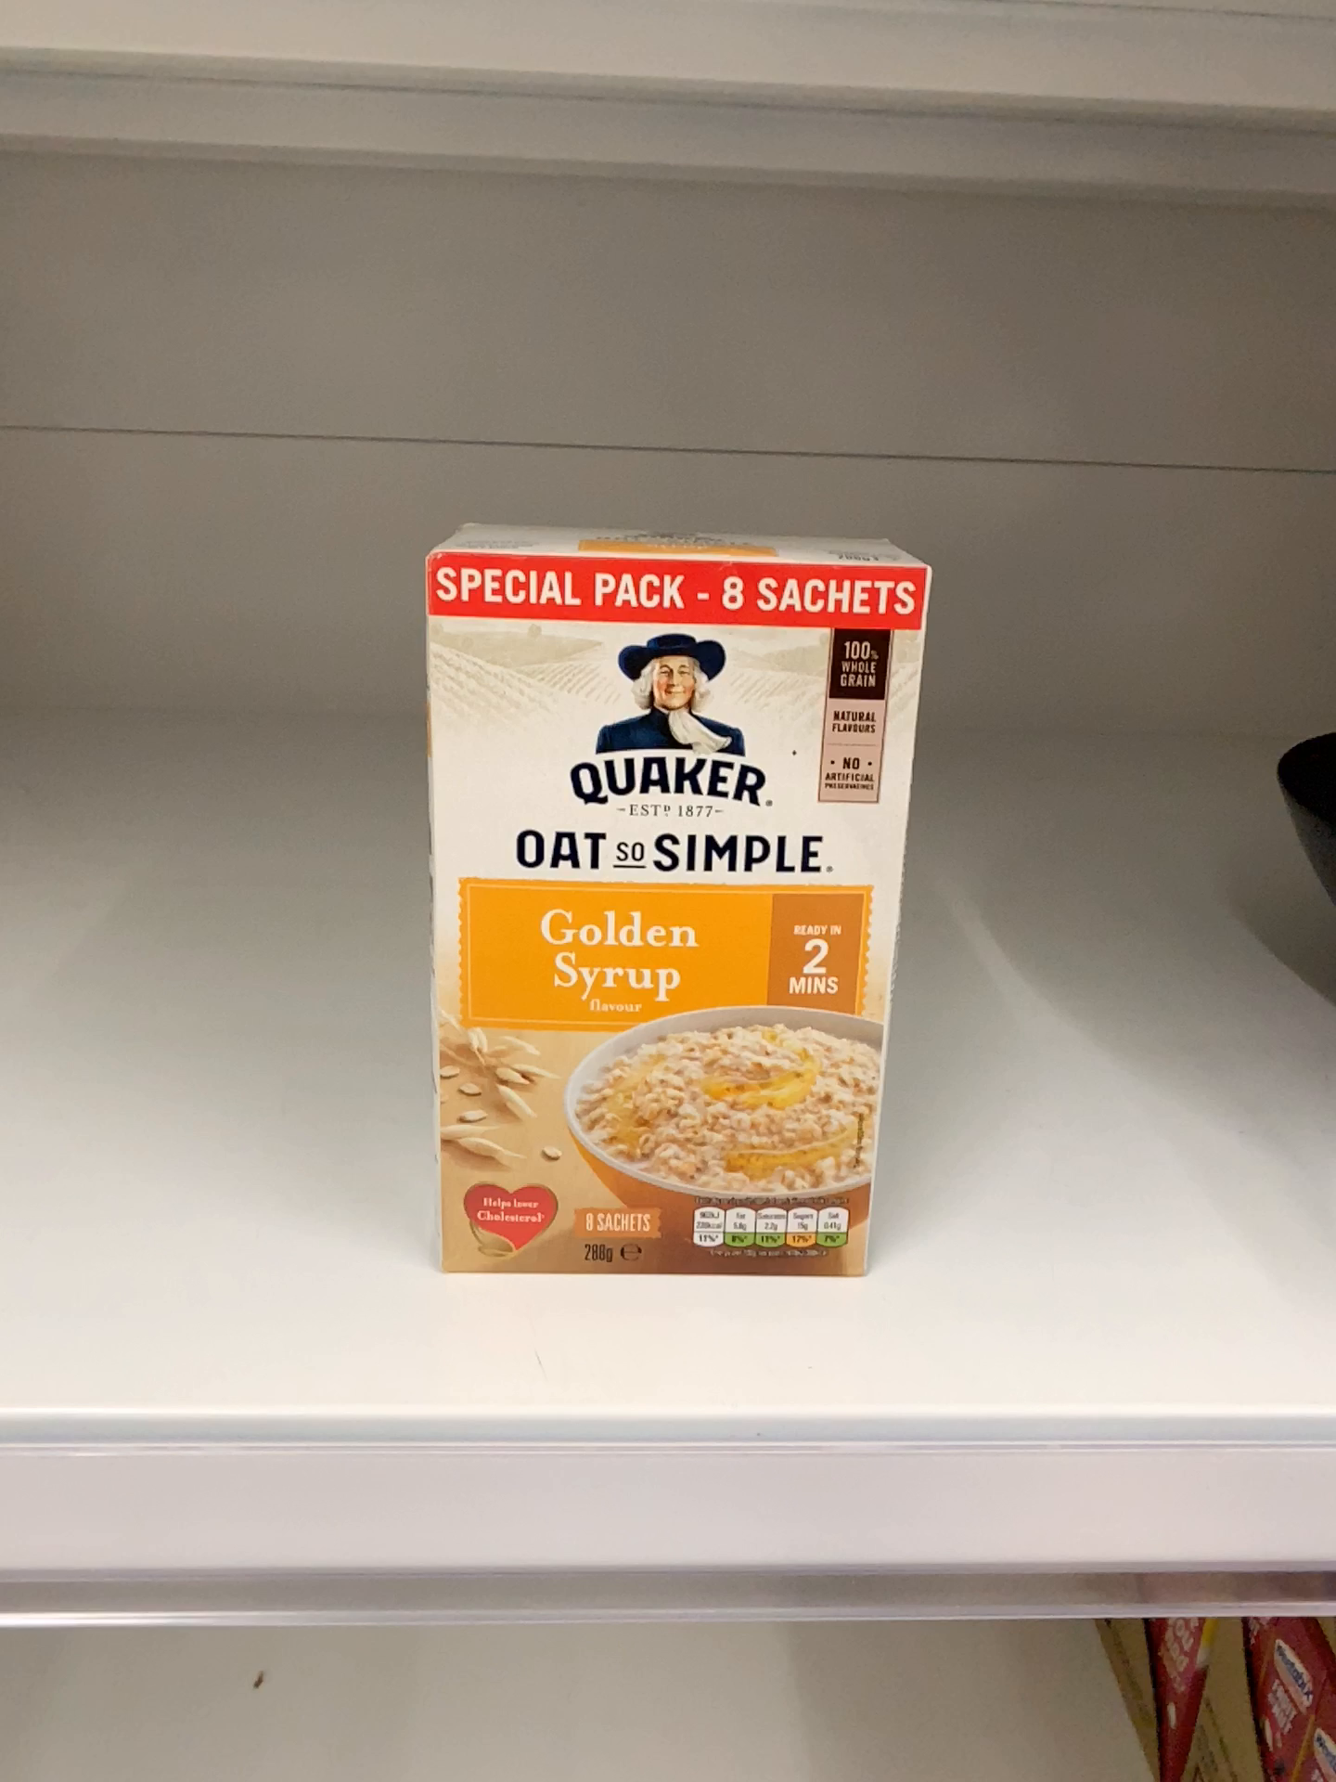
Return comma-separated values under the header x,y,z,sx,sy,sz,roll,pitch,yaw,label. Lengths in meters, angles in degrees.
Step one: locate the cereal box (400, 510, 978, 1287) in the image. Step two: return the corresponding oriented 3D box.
x,y,z,sx,sy,sz,roll,pitch,yaw,label
0.001,0.003,0.397,0.140,0.209,0.070,1,18,-3,cereal box
